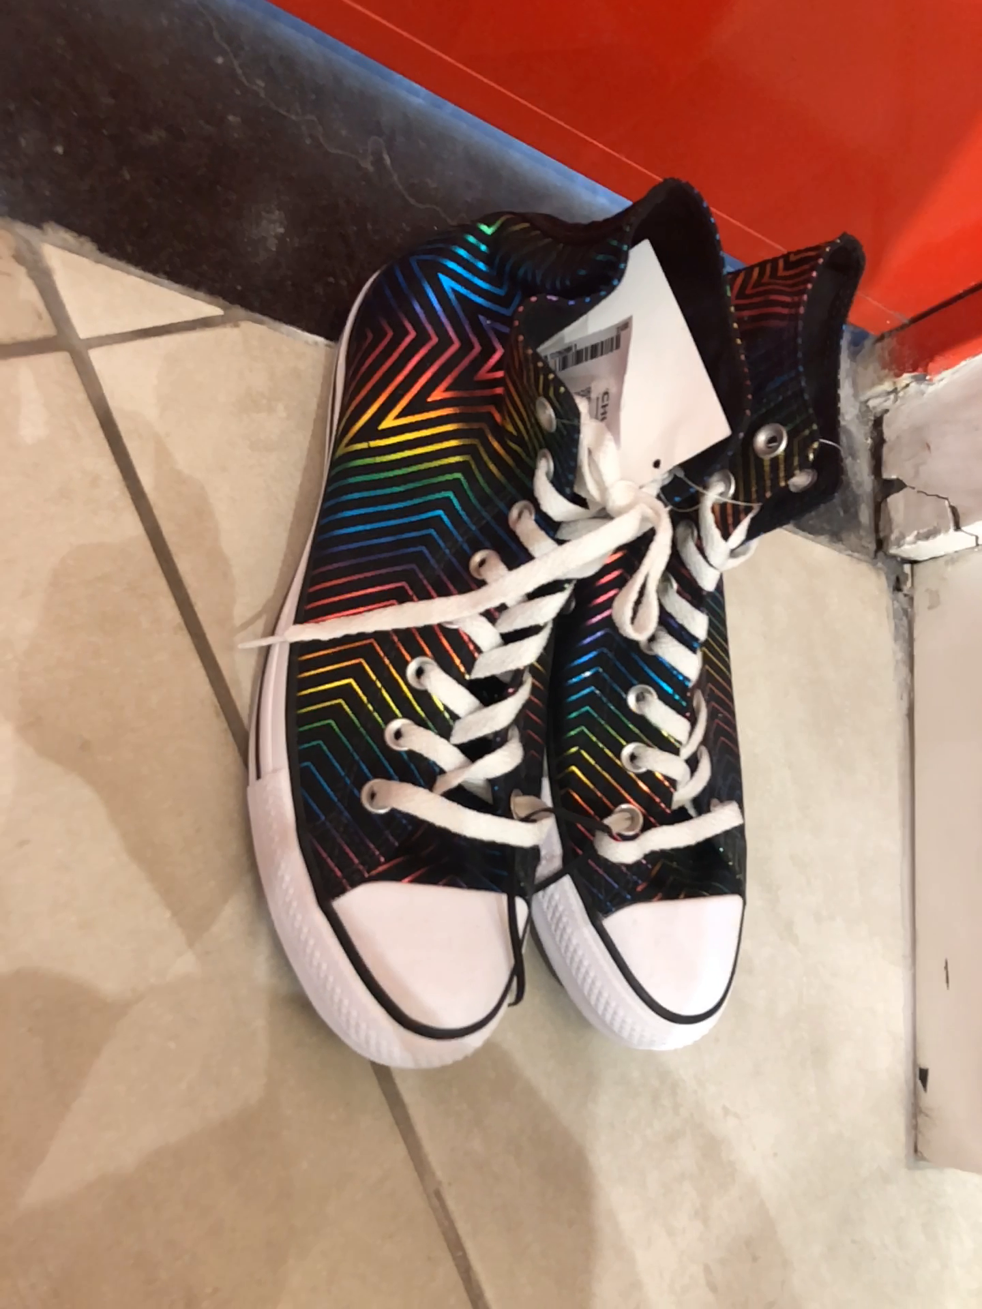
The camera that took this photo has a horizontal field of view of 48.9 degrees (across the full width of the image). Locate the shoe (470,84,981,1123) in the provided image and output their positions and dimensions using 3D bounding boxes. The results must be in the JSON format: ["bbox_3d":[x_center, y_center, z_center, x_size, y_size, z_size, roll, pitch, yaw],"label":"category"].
[{"bbox_3d":[0.077,-0.012,0.399,0.111,0.139,0.310,7,76,-32],"label":"shoe"}]

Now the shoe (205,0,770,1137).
[{"bbox_3d":[-0.004,-0.025,0.356,0.110,0.139,0.310,10,74,-31],"label":"shoe"}]
